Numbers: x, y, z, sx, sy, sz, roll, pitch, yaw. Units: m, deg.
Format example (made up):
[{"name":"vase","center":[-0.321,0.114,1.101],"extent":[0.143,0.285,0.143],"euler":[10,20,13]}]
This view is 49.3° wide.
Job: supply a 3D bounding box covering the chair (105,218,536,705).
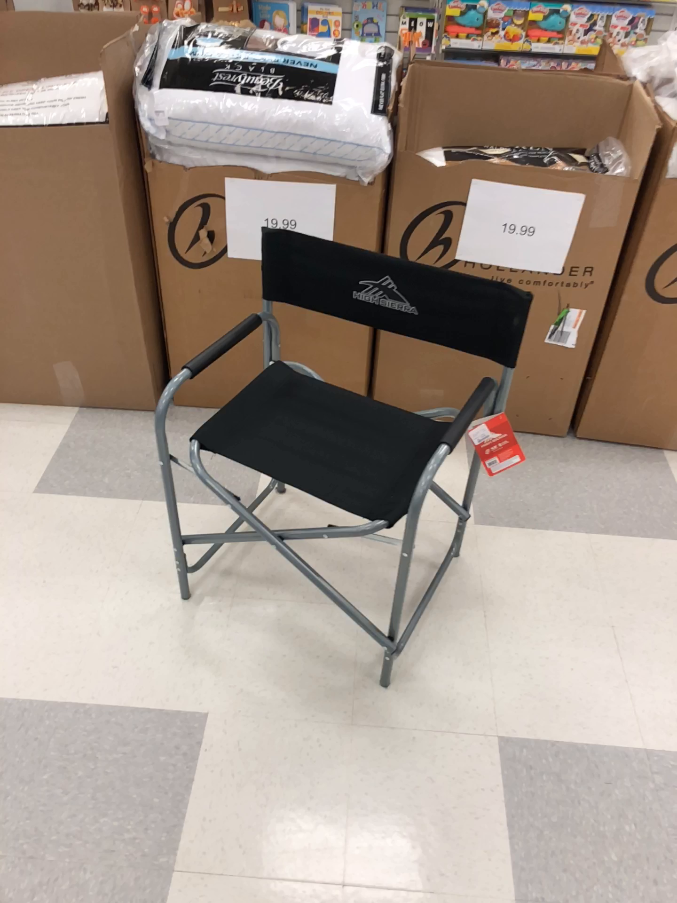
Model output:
[{"name":"chair","center":[-0.024,0.008,1.580],"extent":[0.625,0.736,0.500],"euler":[19,43,19]}]
